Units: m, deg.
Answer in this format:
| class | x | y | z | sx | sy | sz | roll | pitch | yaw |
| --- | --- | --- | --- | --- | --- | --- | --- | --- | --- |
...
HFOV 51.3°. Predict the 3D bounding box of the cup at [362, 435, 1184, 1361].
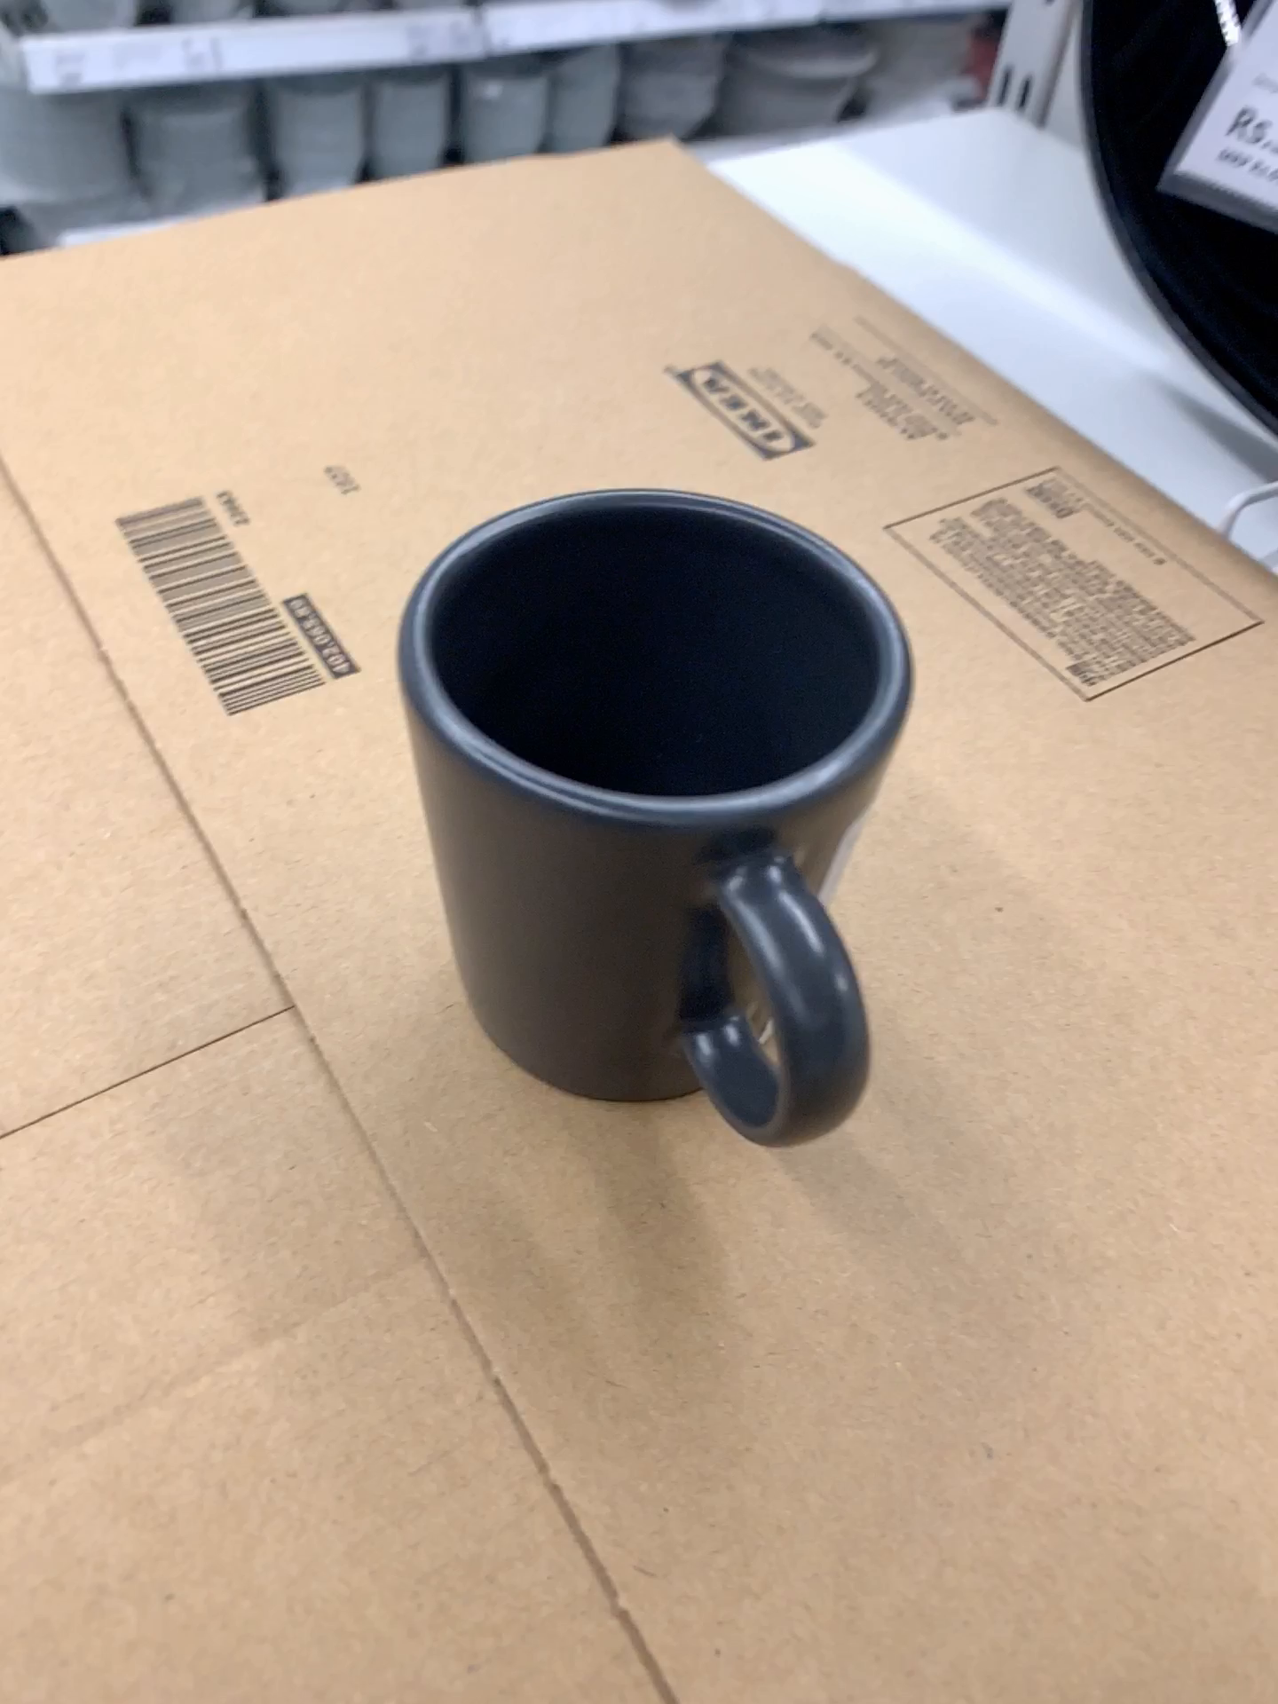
| class | x | y | z | sx | sy | sz | roll | pitch | yaw |
| --- | --- | --- | --- | --- | --- | --- | --- | --- | --- |
| cup | 0.007 | 0.003 | 0.169 | 0.060 | 0.070 | 0.080 | -14 | 52 | -19 |
